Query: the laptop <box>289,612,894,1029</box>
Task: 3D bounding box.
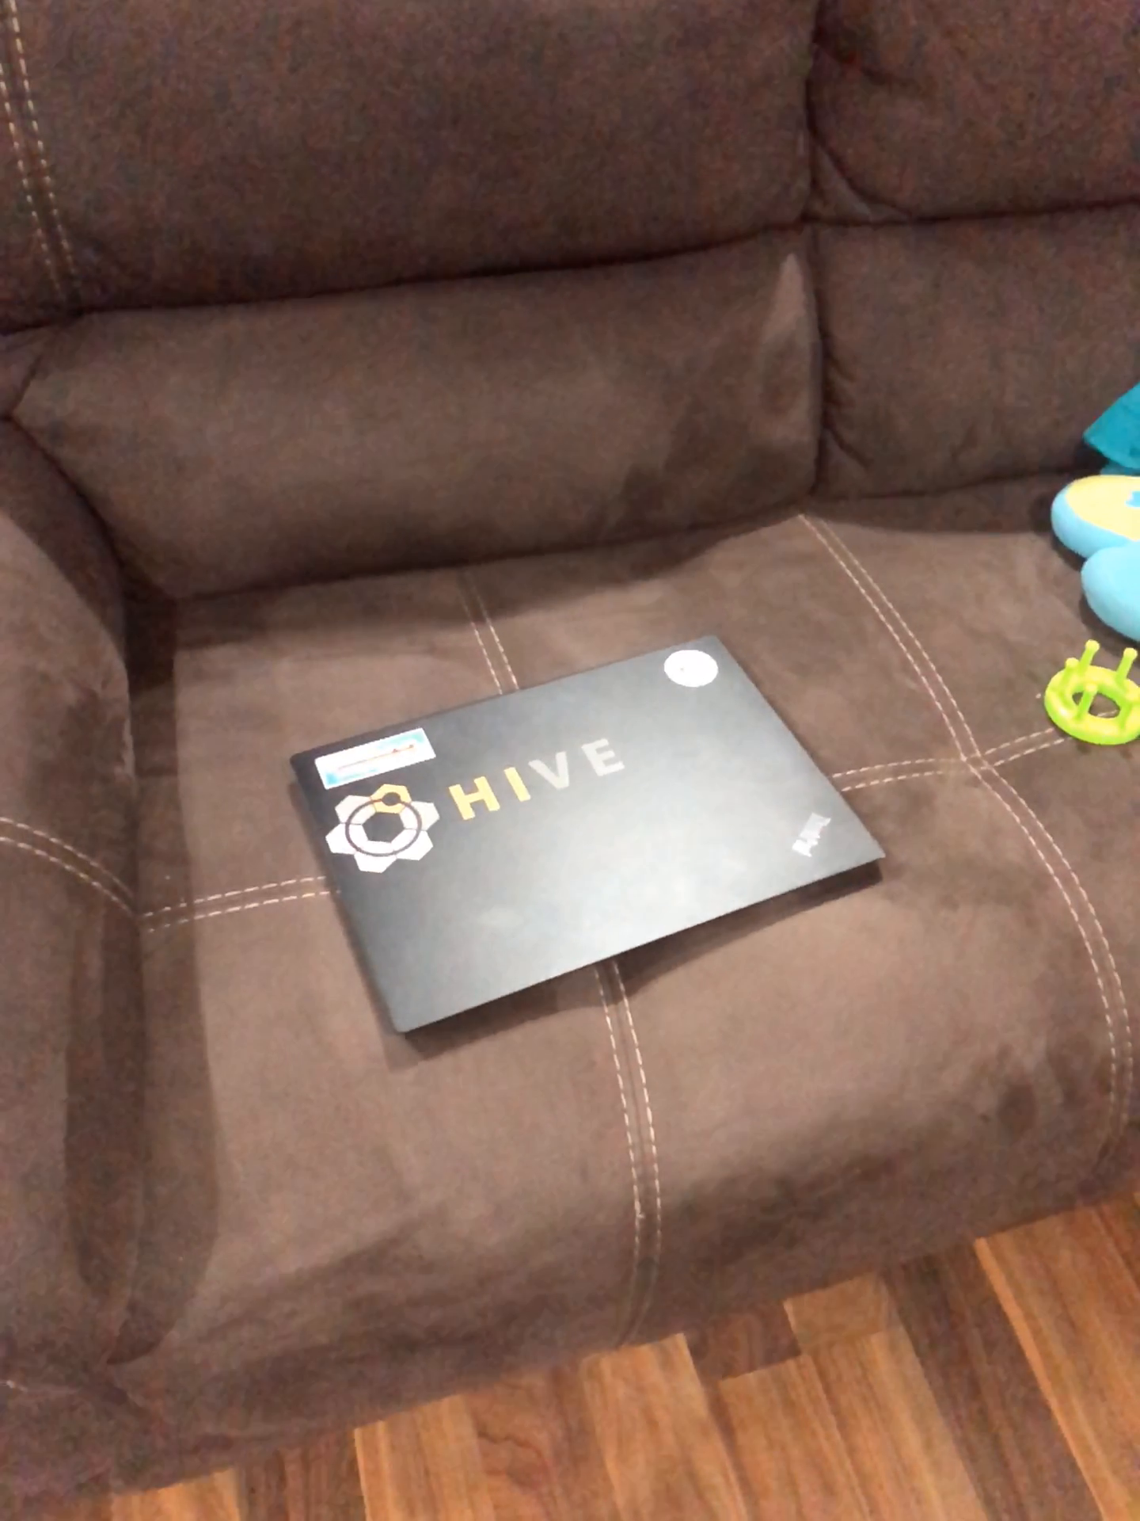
[{"bbox_3d":[0.005,0.021,0.825,0.328,0.019,0.236,-17,49,-15],"label":"laptop"}]
